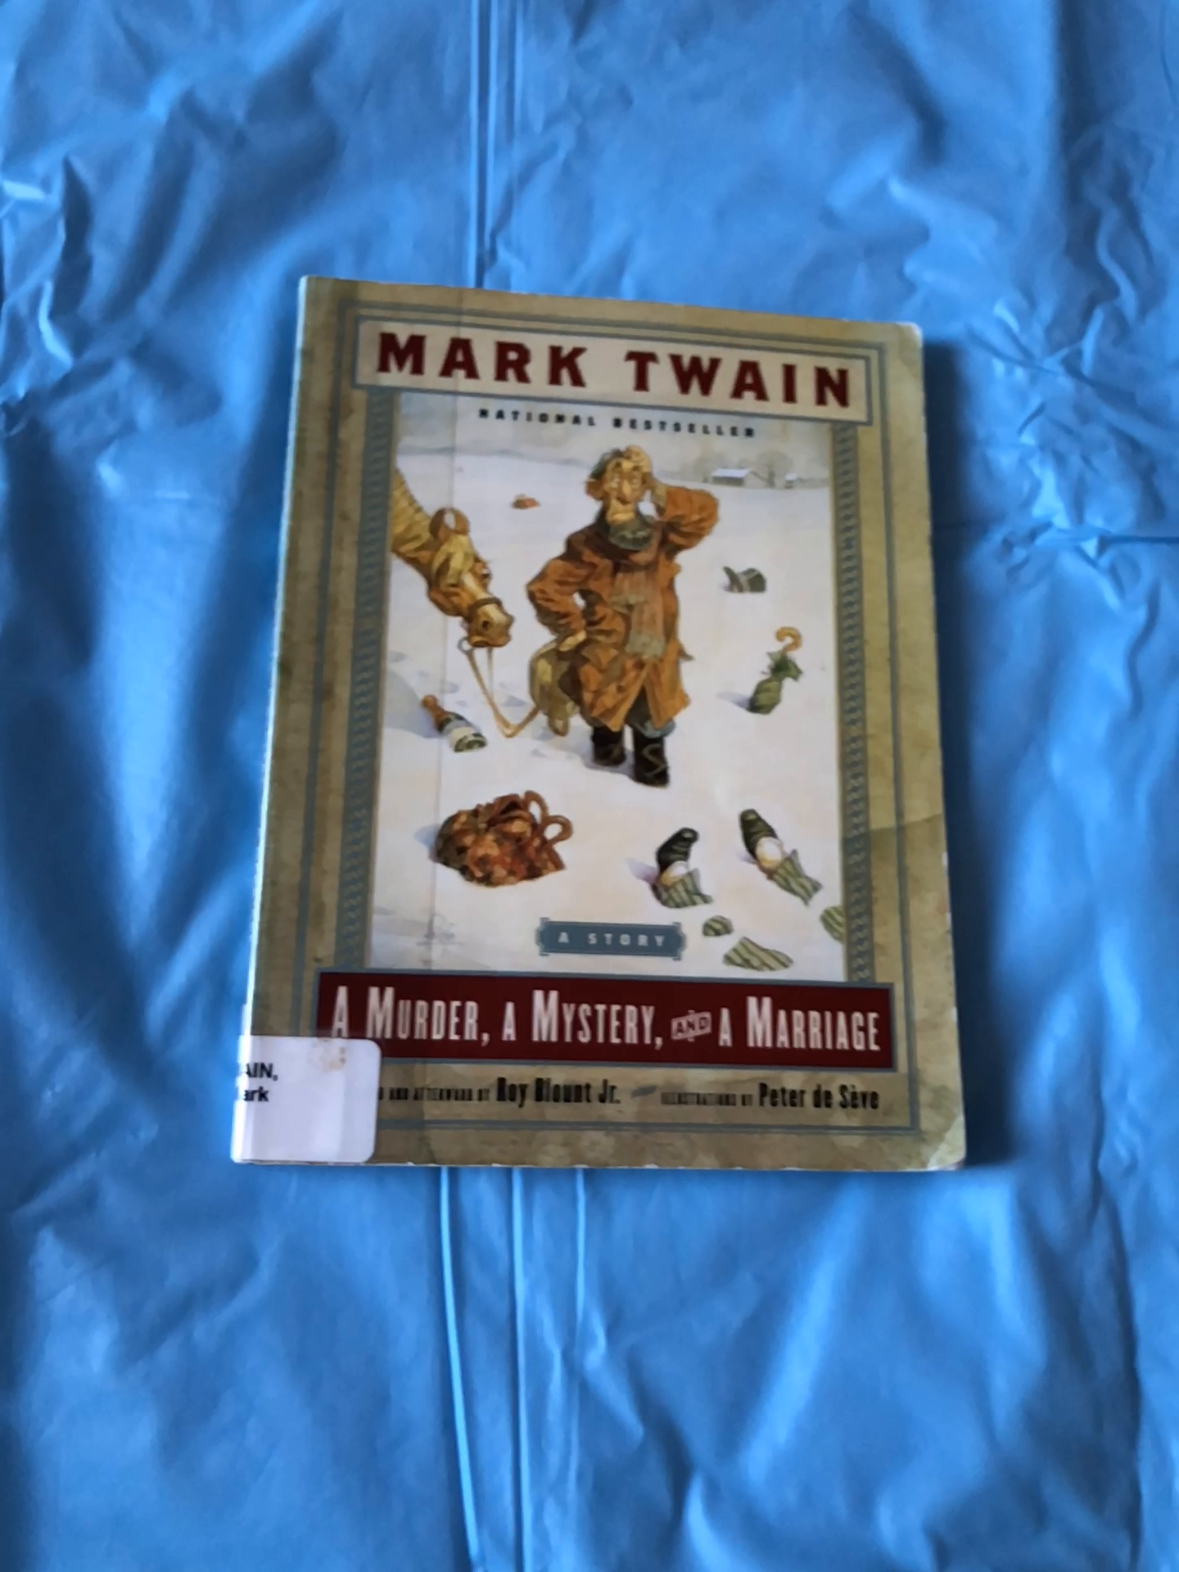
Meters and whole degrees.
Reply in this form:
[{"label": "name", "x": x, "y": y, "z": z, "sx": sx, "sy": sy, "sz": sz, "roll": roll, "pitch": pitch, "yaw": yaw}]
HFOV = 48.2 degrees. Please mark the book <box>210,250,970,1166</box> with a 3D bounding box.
[{"label": "book", "x": 0.003, "y": -0.021, "z": 0.310, "sx": 0.160, "sy": 0.020, "sz": 0.210, "roll": 2, "pitch": 76, "yaw": -7}]
